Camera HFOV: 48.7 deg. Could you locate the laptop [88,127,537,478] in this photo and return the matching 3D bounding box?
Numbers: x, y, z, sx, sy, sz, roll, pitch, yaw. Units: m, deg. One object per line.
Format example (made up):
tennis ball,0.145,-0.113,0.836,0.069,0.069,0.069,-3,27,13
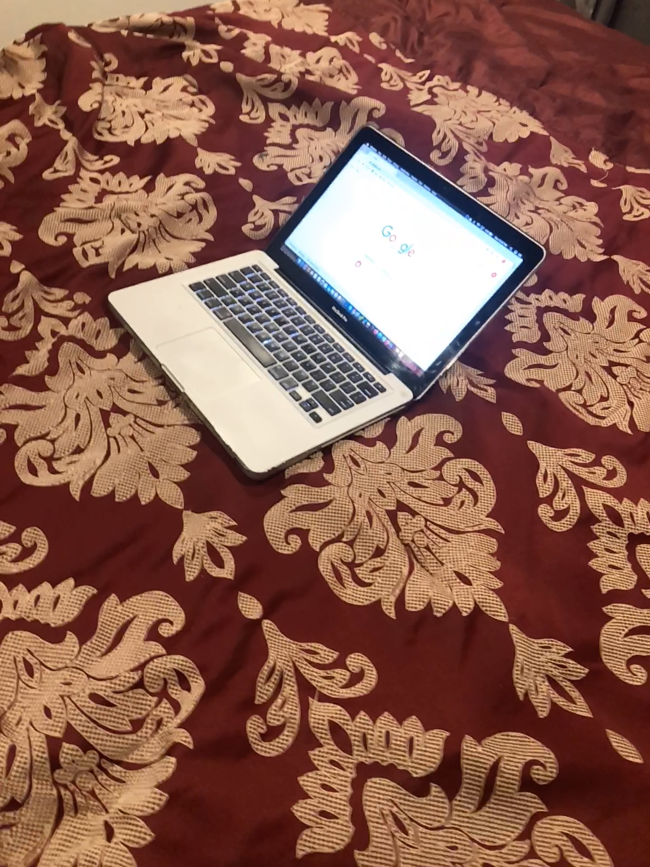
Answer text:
laptop,-0.014,-0.164,0.760,0.343,0.133,0.293,-26,58,-29
